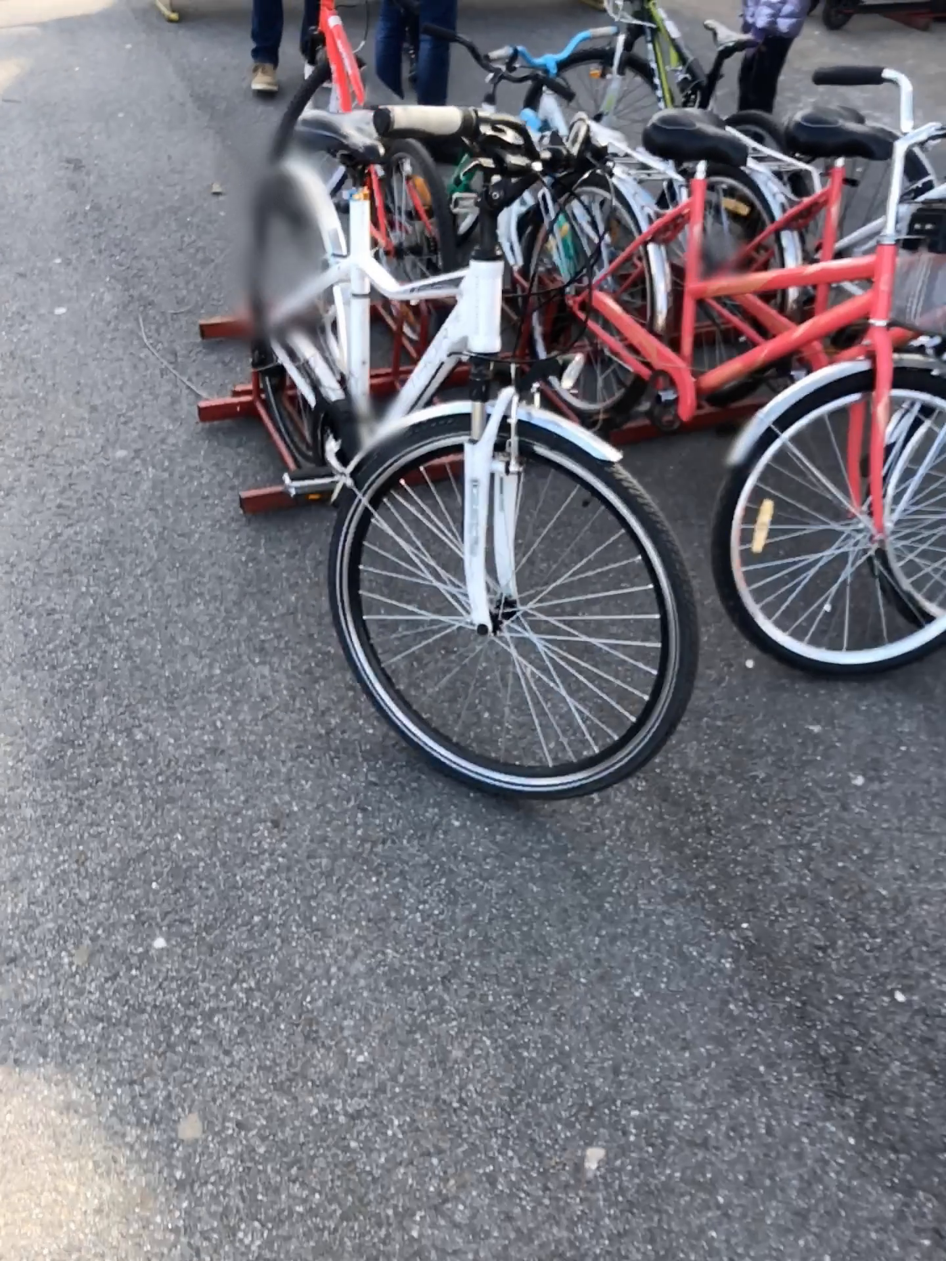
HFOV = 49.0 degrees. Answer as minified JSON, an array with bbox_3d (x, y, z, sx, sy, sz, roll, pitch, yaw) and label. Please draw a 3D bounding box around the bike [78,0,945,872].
[{"bbox_3d":[-0.057,-0.582,2.035,0.645,1.112,1.704,-22,47,-24],"label":"bike"}]
